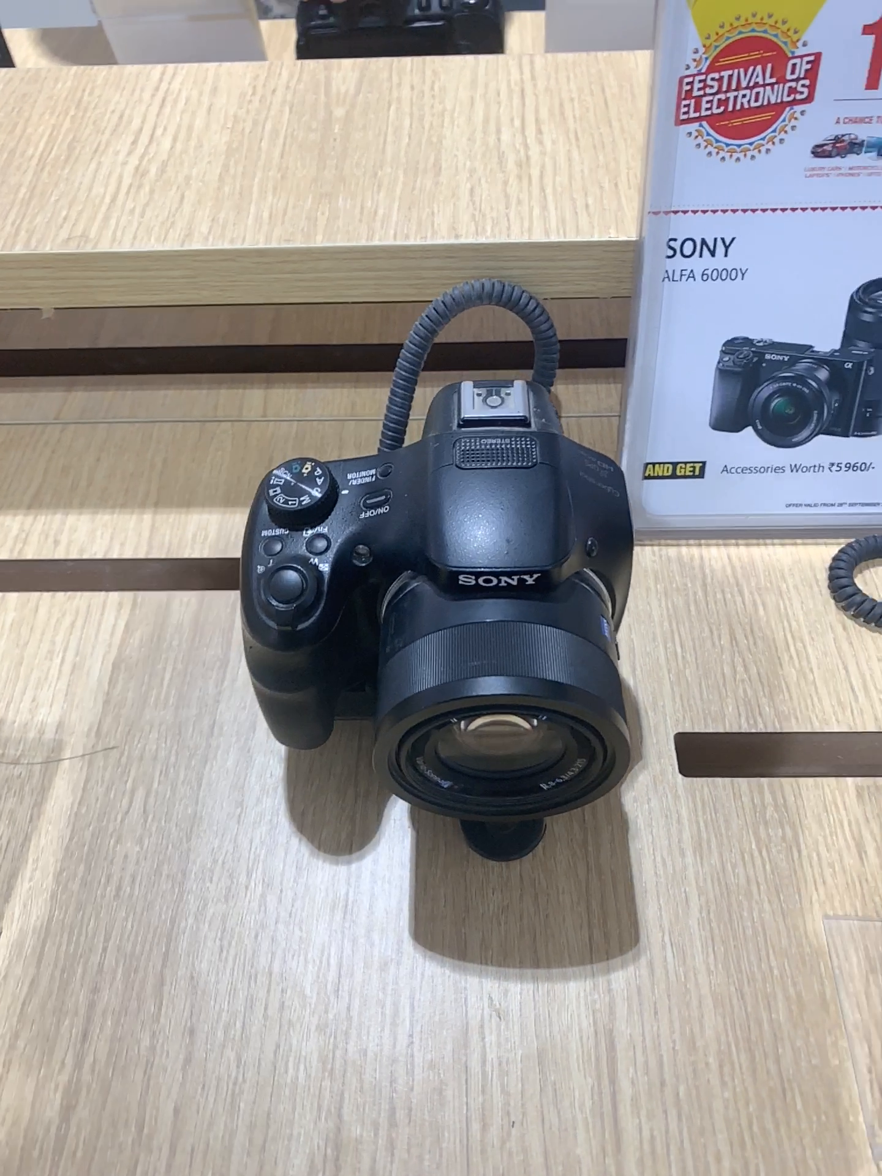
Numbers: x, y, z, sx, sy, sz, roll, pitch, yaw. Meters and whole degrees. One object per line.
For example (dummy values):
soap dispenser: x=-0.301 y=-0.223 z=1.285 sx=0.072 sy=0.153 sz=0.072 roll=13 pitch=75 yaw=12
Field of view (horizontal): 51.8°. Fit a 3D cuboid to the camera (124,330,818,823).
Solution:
camera: x=0.006 y=0.000 z=0.250 sx=0.140 sy=0.100 sz=0.090 roll=-1 pitch=52 yaw=1
